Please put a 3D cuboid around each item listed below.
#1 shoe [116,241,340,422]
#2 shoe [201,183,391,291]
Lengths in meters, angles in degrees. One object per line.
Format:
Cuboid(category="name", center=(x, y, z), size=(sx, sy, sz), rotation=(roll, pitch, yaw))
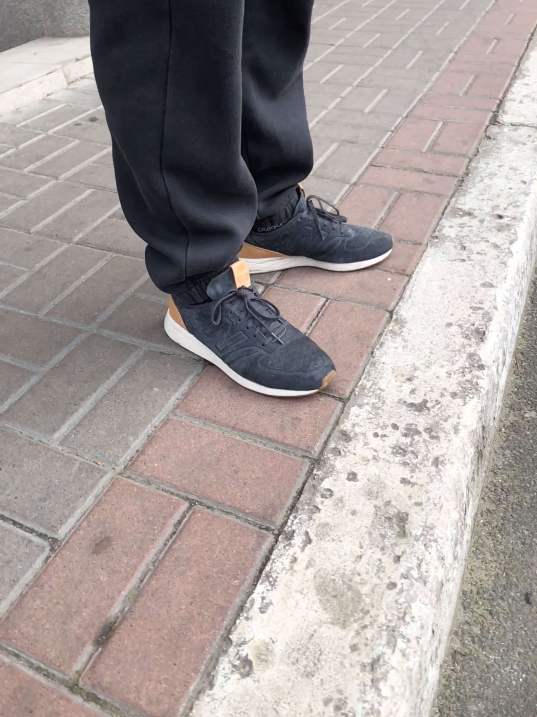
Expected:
Cuboid(category="shoe", center=(-0.054, -0.045, 0.762), size=(0.281, 0.109, 0.105), rotation=(25, 48, 31))
Cuboid(category="shoe", center=(0.042, -0.194, 0.938), size=(0.280, 0.109, 0.105), rotation=(-4, 40, 1))
